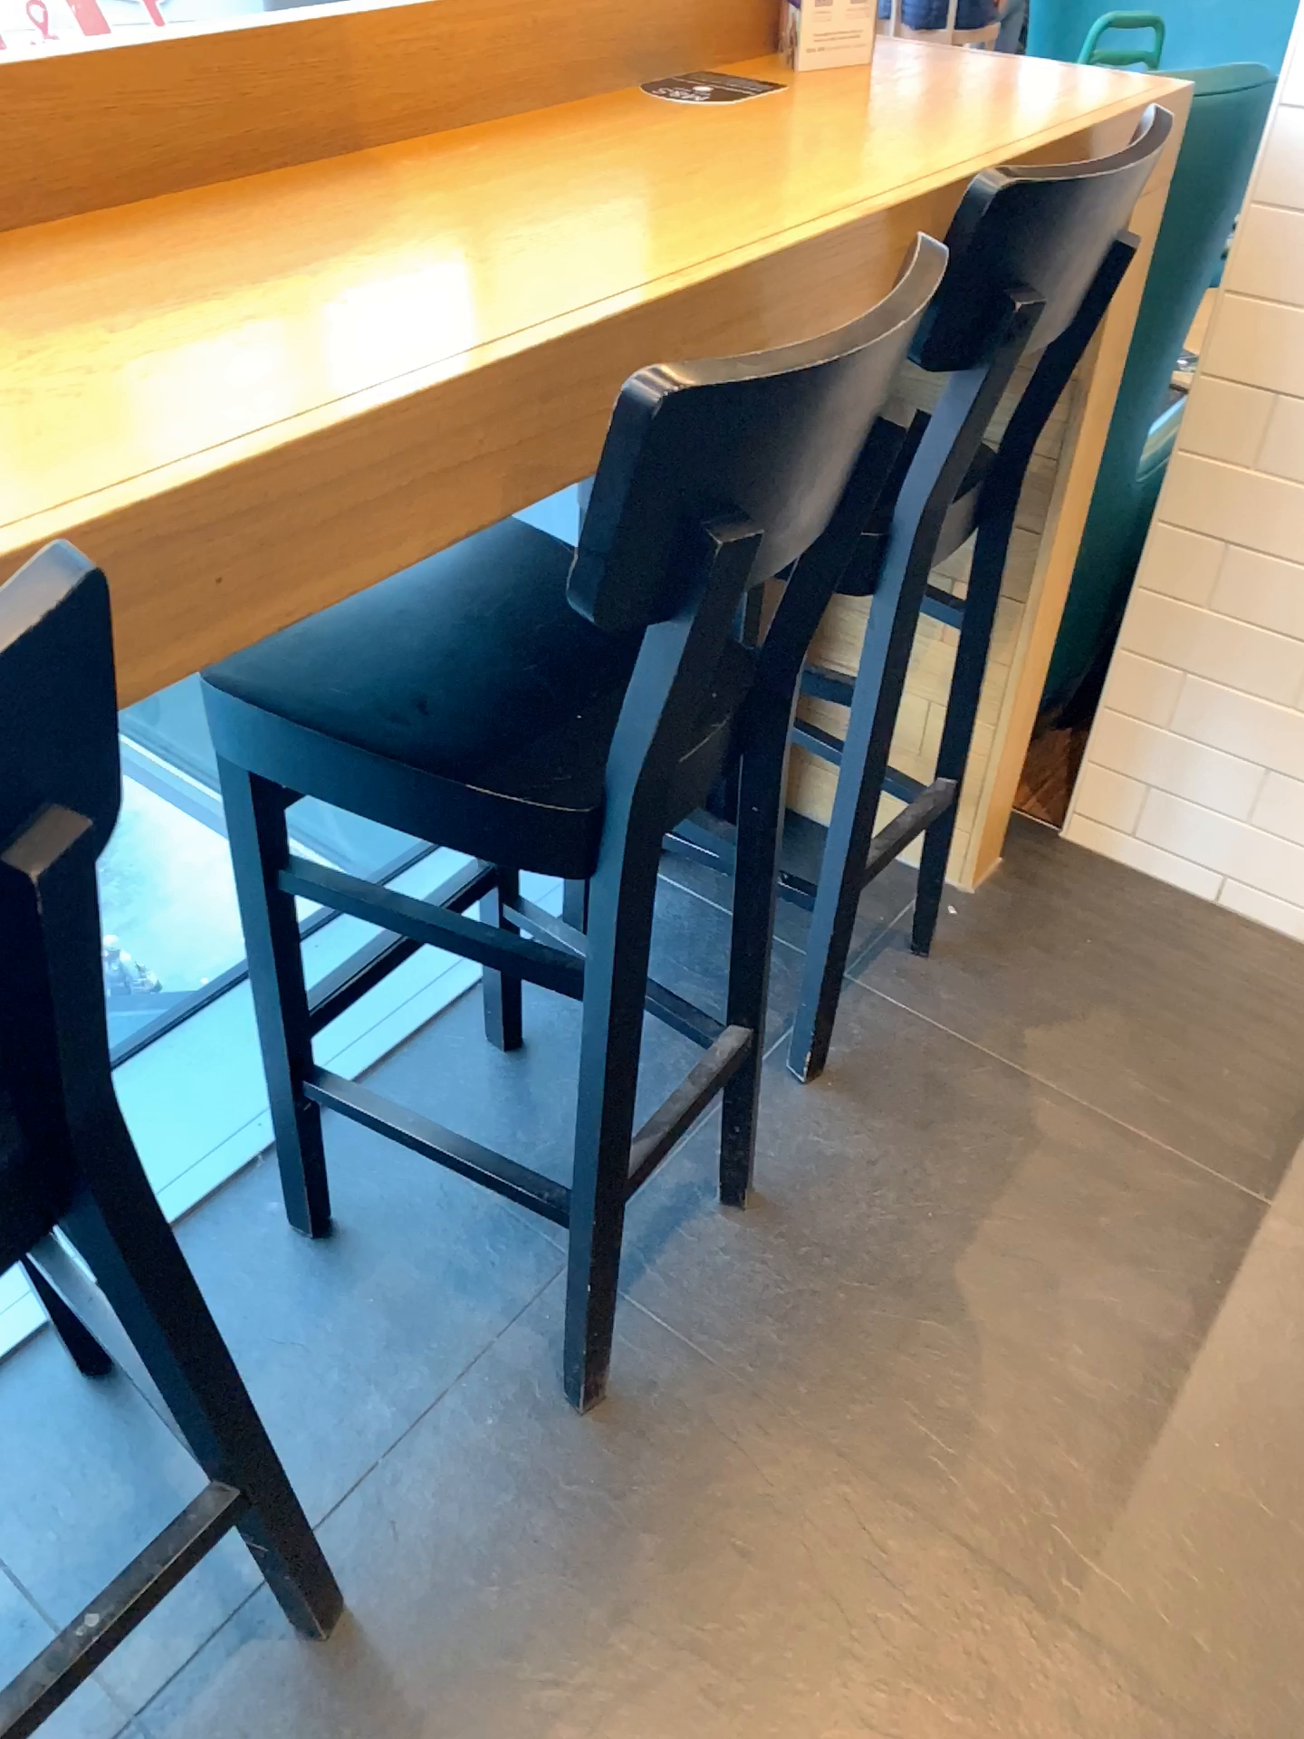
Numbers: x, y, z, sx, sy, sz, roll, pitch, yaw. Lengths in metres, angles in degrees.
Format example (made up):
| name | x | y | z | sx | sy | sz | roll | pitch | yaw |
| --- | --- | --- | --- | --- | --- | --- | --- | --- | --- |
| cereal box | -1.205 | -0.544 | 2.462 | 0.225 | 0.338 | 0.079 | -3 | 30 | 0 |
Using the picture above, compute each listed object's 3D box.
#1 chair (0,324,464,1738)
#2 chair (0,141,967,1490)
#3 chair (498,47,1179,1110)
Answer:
| name | x | y | z | sx | sy | sz | roll | pitch | yaw |
| --- | --- | --- | --- | --- | --- | --- | --- | --- | --- |
| chair | -0.456 | 0.274 | 0.825 | 0.462 | 1.001 | 0.395 | 26 | 45 | 27 |
| chair | -0.111 | -0.012 | 1.168 | 0.461 | 1.001 | 0.455 | 23 | 44 | 24 |
| chair | 0.166 | -0.297 | 1.502 | 0.462 | 1.001 | 0.425 | 25 | 45 | 26 |
